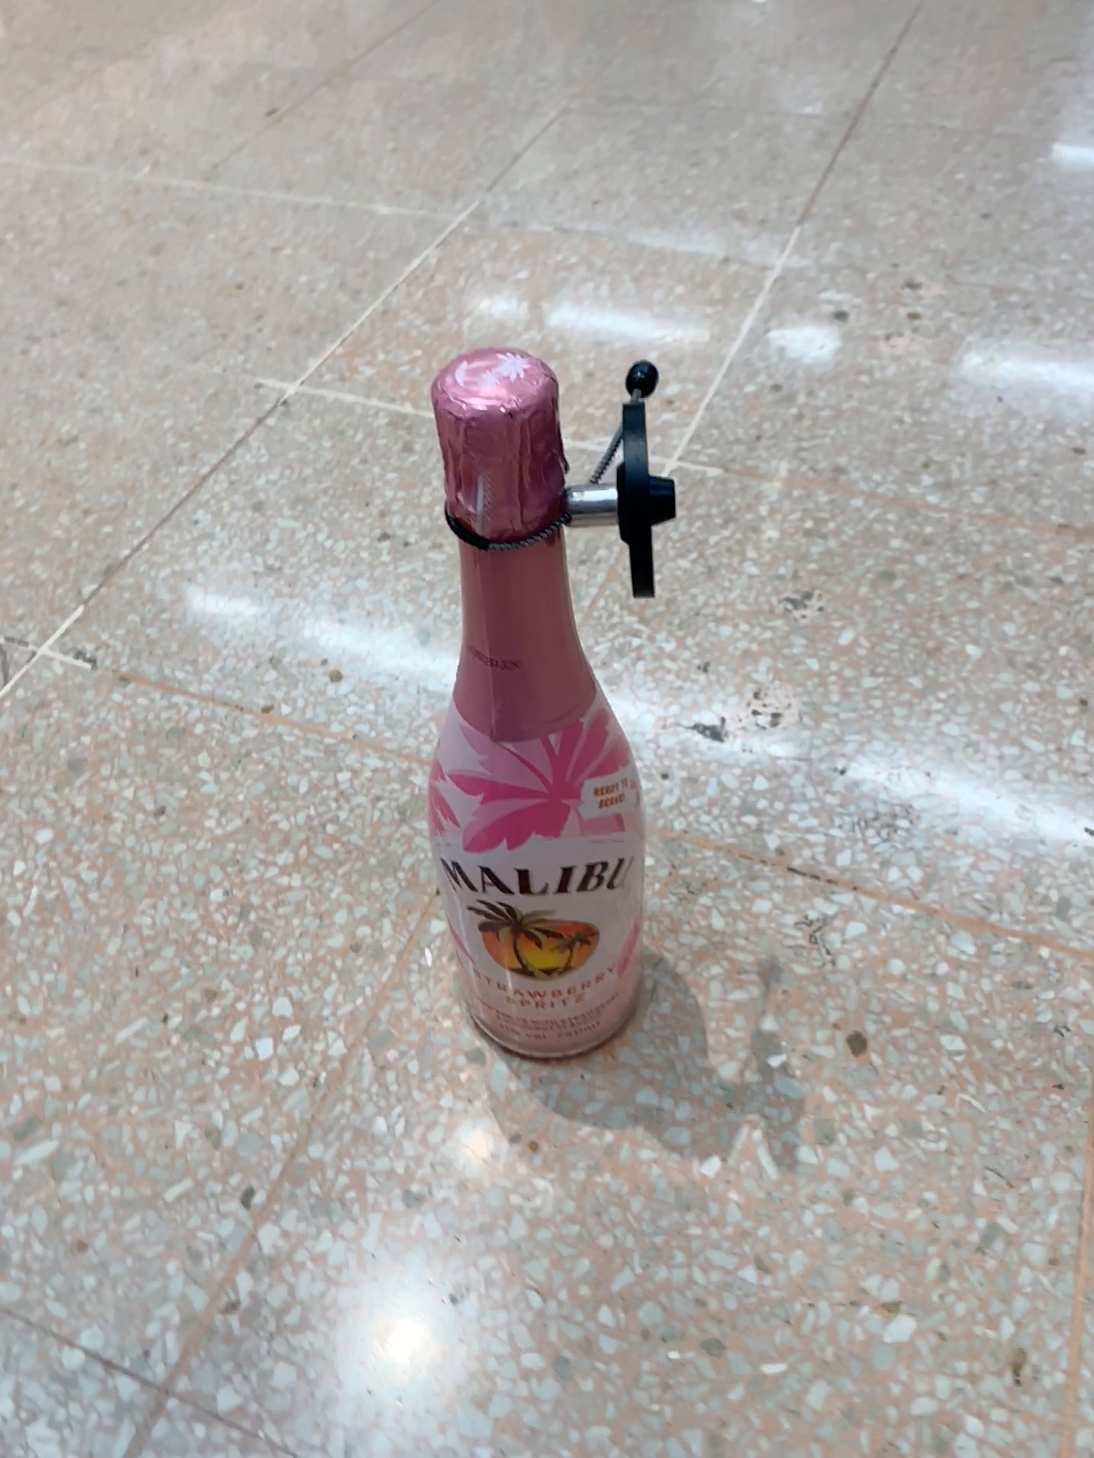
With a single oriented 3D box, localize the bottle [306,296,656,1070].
[{"bbox_3d":[-0.004,0.013,0.400,0.080,0.307,0.081,-2,48,2],"label":"bottle"}]
